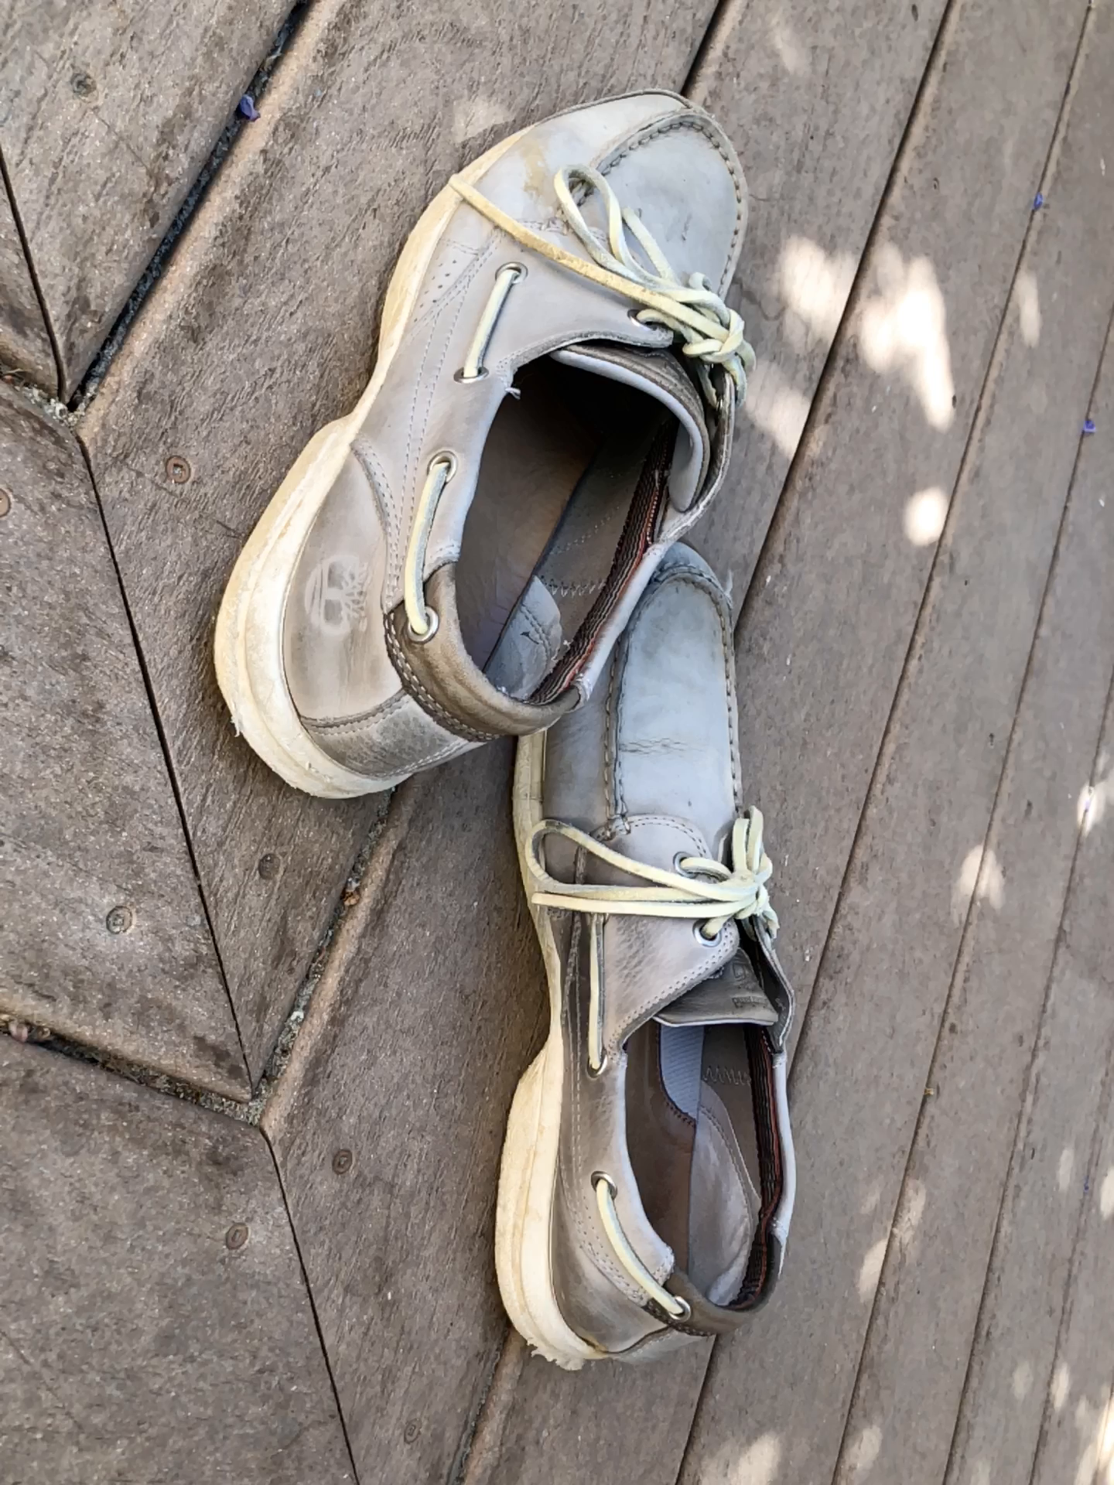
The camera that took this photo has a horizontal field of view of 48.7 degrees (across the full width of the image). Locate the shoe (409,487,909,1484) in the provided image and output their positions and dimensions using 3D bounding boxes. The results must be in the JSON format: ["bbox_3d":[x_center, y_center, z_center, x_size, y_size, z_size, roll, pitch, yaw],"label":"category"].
[{"bbox_3d":[0.042,0.081,0.453,0.121,0.109,0.310,10,83,-47],"label":"shoe"}]

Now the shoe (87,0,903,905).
[{"bbox_3d":[0.002,-0.118,0.402,0.117,0.099,0.314,46,58,-38],"label":"shoe"}]
